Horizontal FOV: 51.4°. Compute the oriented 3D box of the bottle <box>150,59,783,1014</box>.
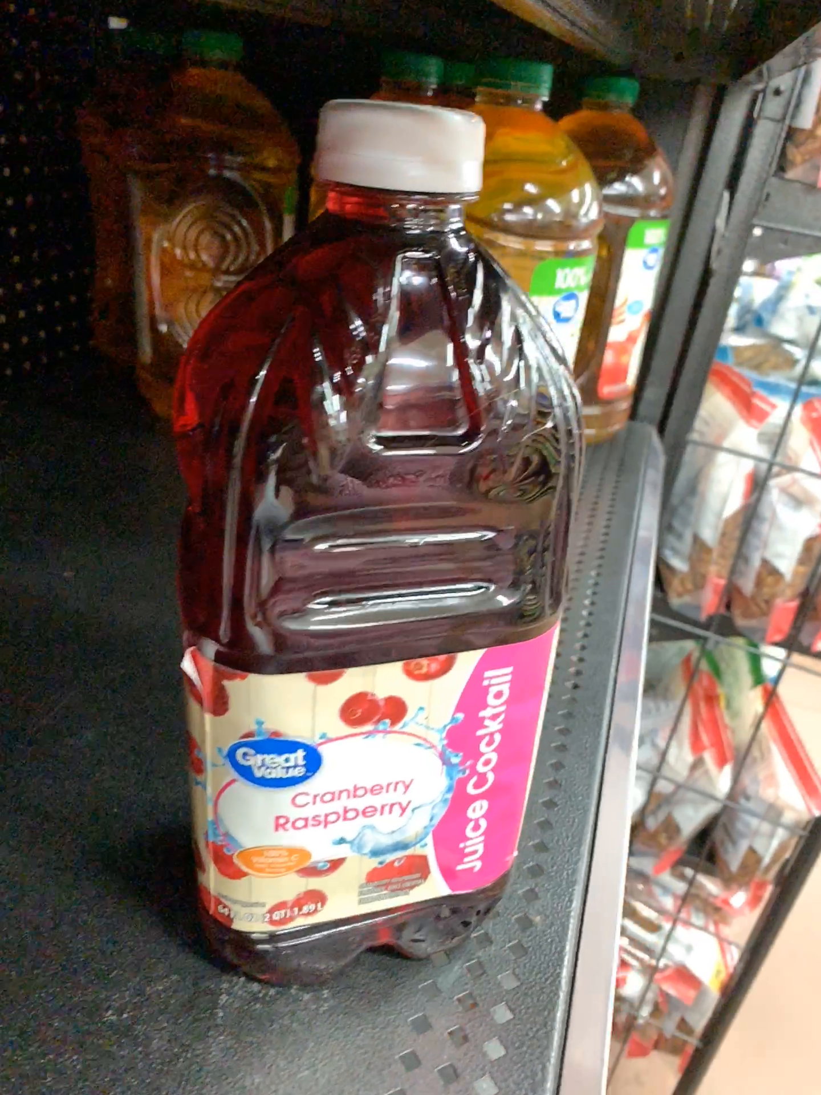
[{"bbox_3d":[-0.009,0.005,0.267,0.125,0.259,0.100,-4,31,-20],"label":"bottle"}]
